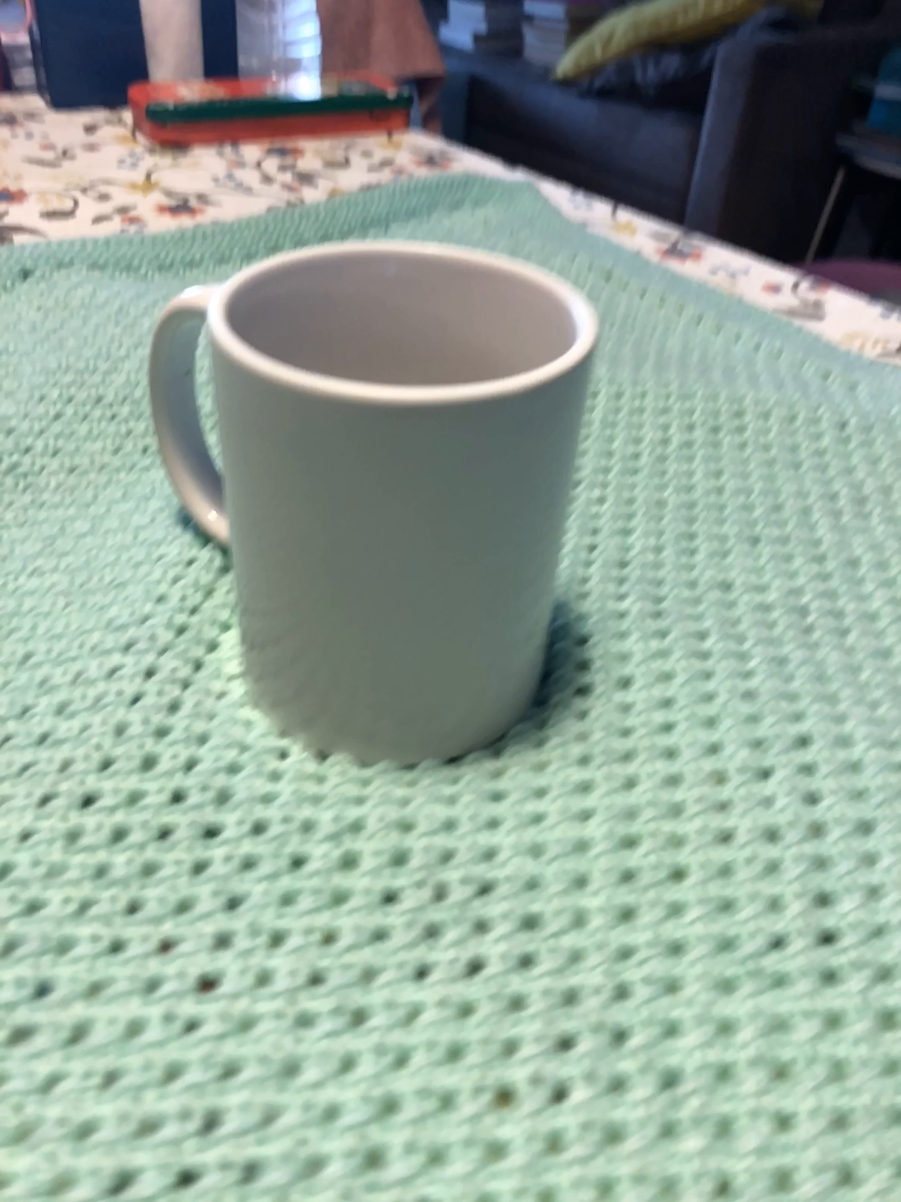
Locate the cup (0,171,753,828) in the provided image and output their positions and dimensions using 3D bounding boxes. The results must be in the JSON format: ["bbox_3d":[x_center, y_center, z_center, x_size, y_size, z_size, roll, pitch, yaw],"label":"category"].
[{"bbox_3d":[-0.021,-0.037,0.244,0.140,0.079,0.101,27,43,25],"label":"cup"}]
